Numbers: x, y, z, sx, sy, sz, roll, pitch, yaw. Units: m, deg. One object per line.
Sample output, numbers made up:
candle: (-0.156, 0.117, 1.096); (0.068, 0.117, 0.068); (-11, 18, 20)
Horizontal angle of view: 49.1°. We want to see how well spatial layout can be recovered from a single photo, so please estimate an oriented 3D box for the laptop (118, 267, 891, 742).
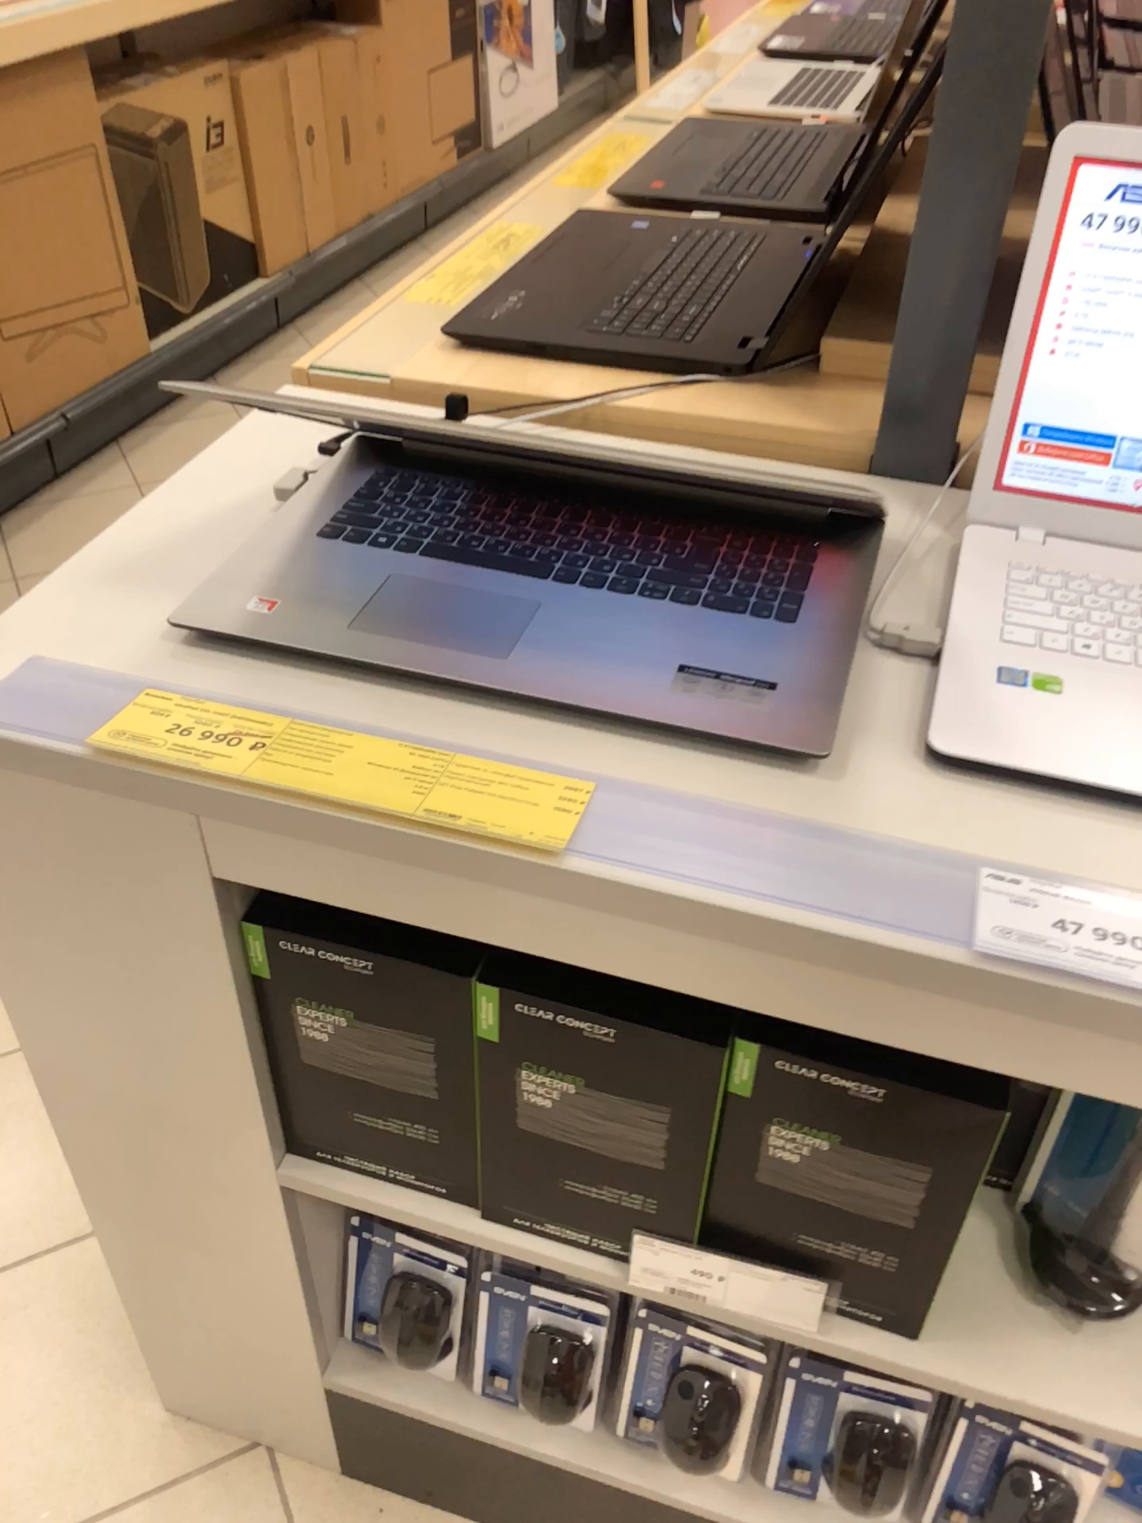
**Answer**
laptop: (-0.023, -0.184, 0.790); (0.398, 0.129, 0.277); (12, 40, 13)
